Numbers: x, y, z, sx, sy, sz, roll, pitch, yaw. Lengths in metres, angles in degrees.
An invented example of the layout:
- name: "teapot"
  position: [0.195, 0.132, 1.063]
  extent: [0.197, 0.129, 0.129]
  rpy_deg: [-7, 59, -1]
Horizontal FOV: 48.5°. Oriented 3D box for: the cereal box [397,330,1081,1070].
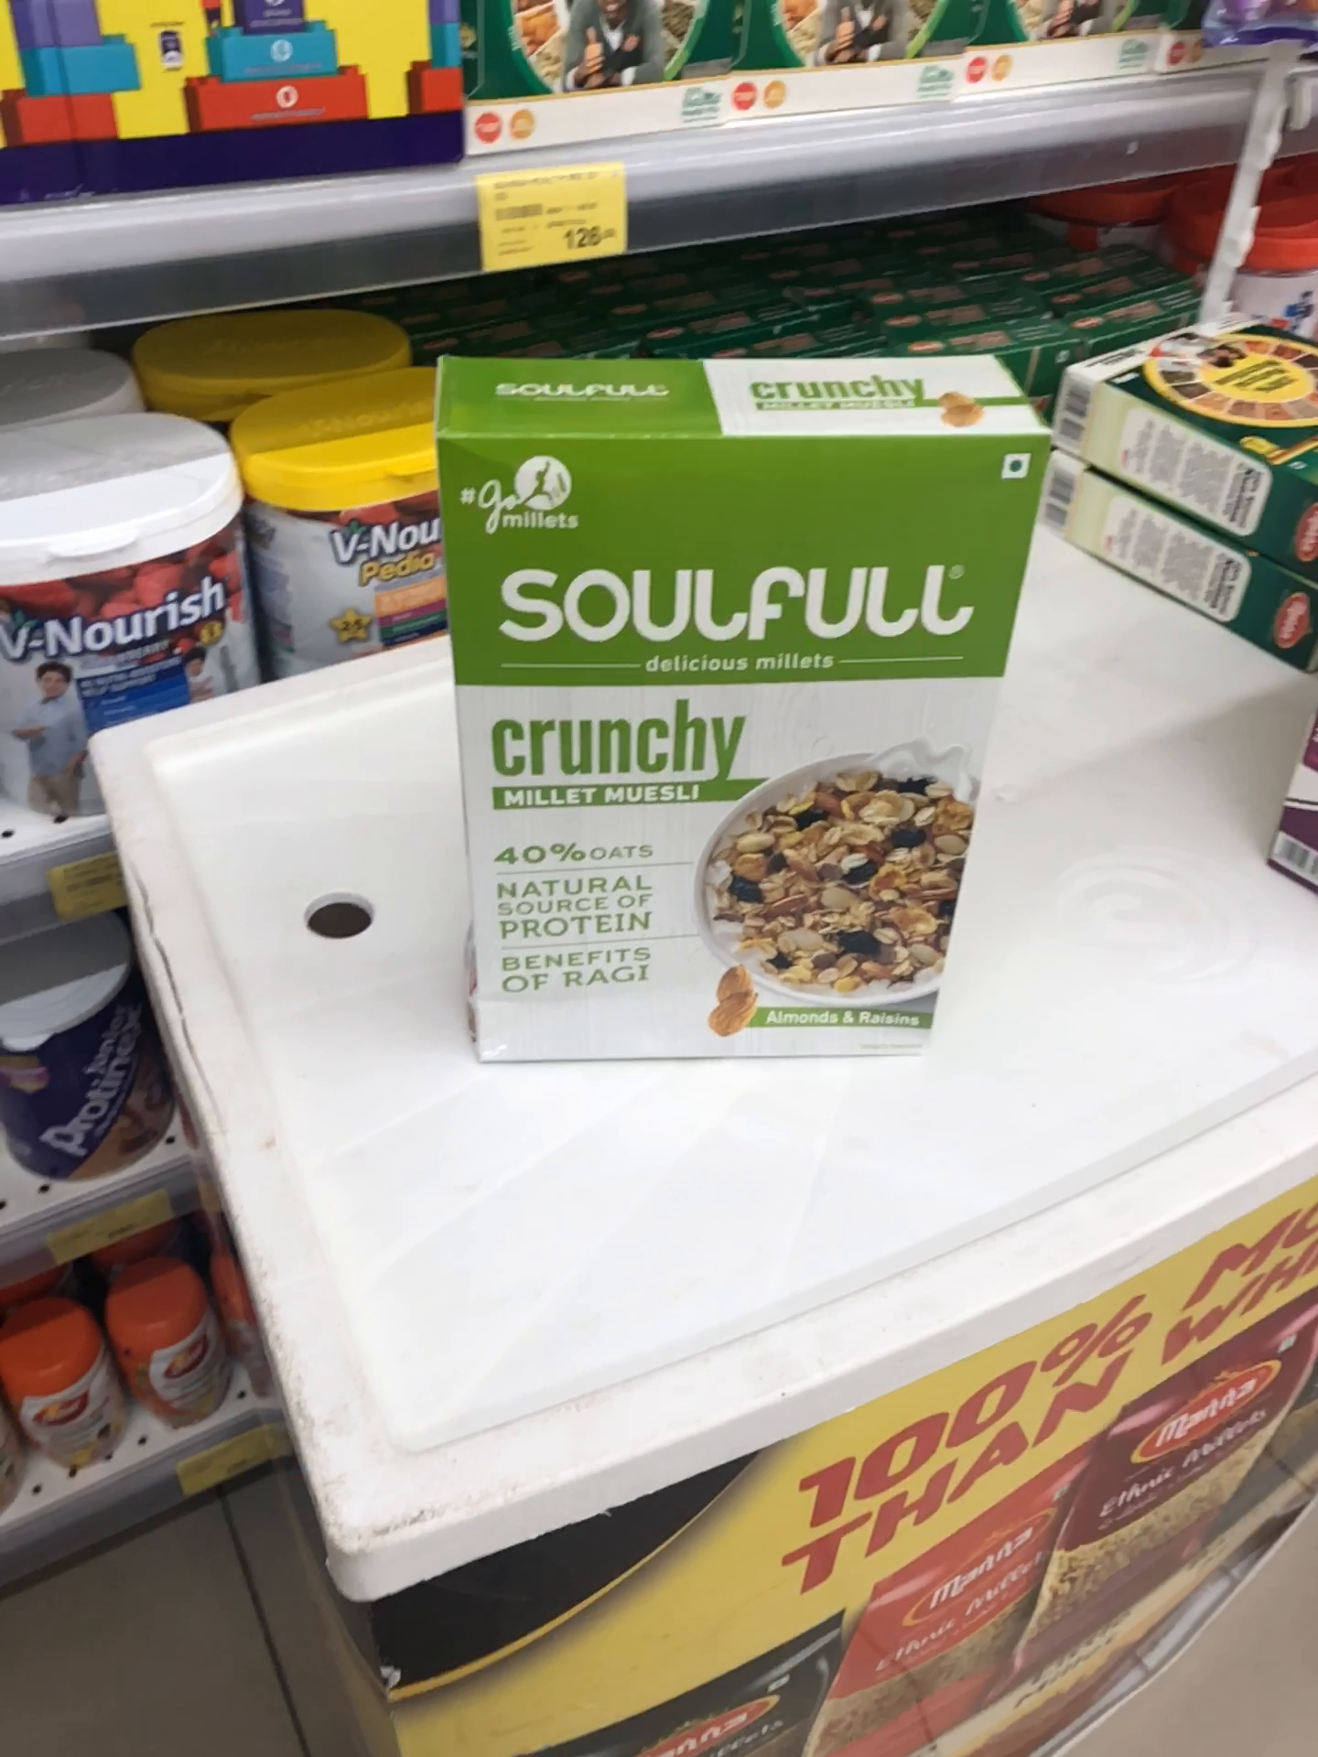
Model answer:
- name: "cereal box"
  position: [0.019, -0.047, 0.493]
  extent: [0.180, 0.249, 0.070]
  rpy_deg: [-1, 42, -2]
